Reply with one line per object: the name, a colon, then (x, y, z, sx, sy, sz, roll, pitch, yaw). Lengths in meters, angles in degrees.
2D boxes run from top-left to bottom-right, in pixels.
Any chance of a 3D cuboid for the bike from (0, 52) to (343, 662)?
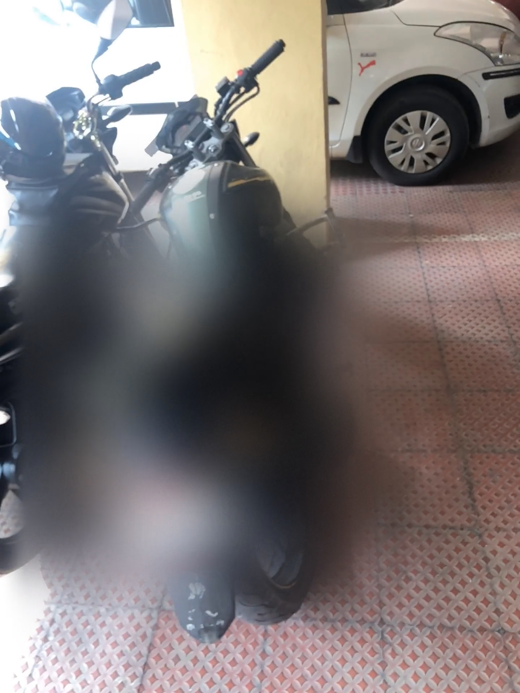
bike: (-0.216, -0.177, 1.834, 0.739, 1.090, 1.818, -4, 35, 4)
